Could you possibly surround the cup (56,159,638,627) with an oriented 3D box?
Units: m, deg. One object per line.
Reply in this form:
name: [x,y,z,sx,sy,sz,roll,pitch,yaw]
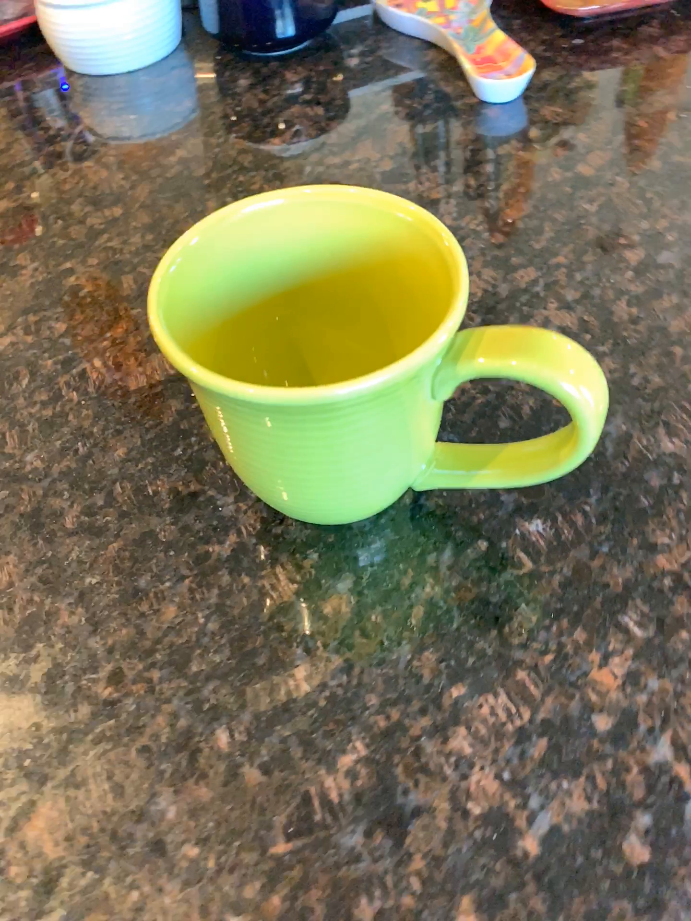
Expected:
cup: [0.007,-0.030,0.251,0.150,0.080,0.110,14,56,16]
